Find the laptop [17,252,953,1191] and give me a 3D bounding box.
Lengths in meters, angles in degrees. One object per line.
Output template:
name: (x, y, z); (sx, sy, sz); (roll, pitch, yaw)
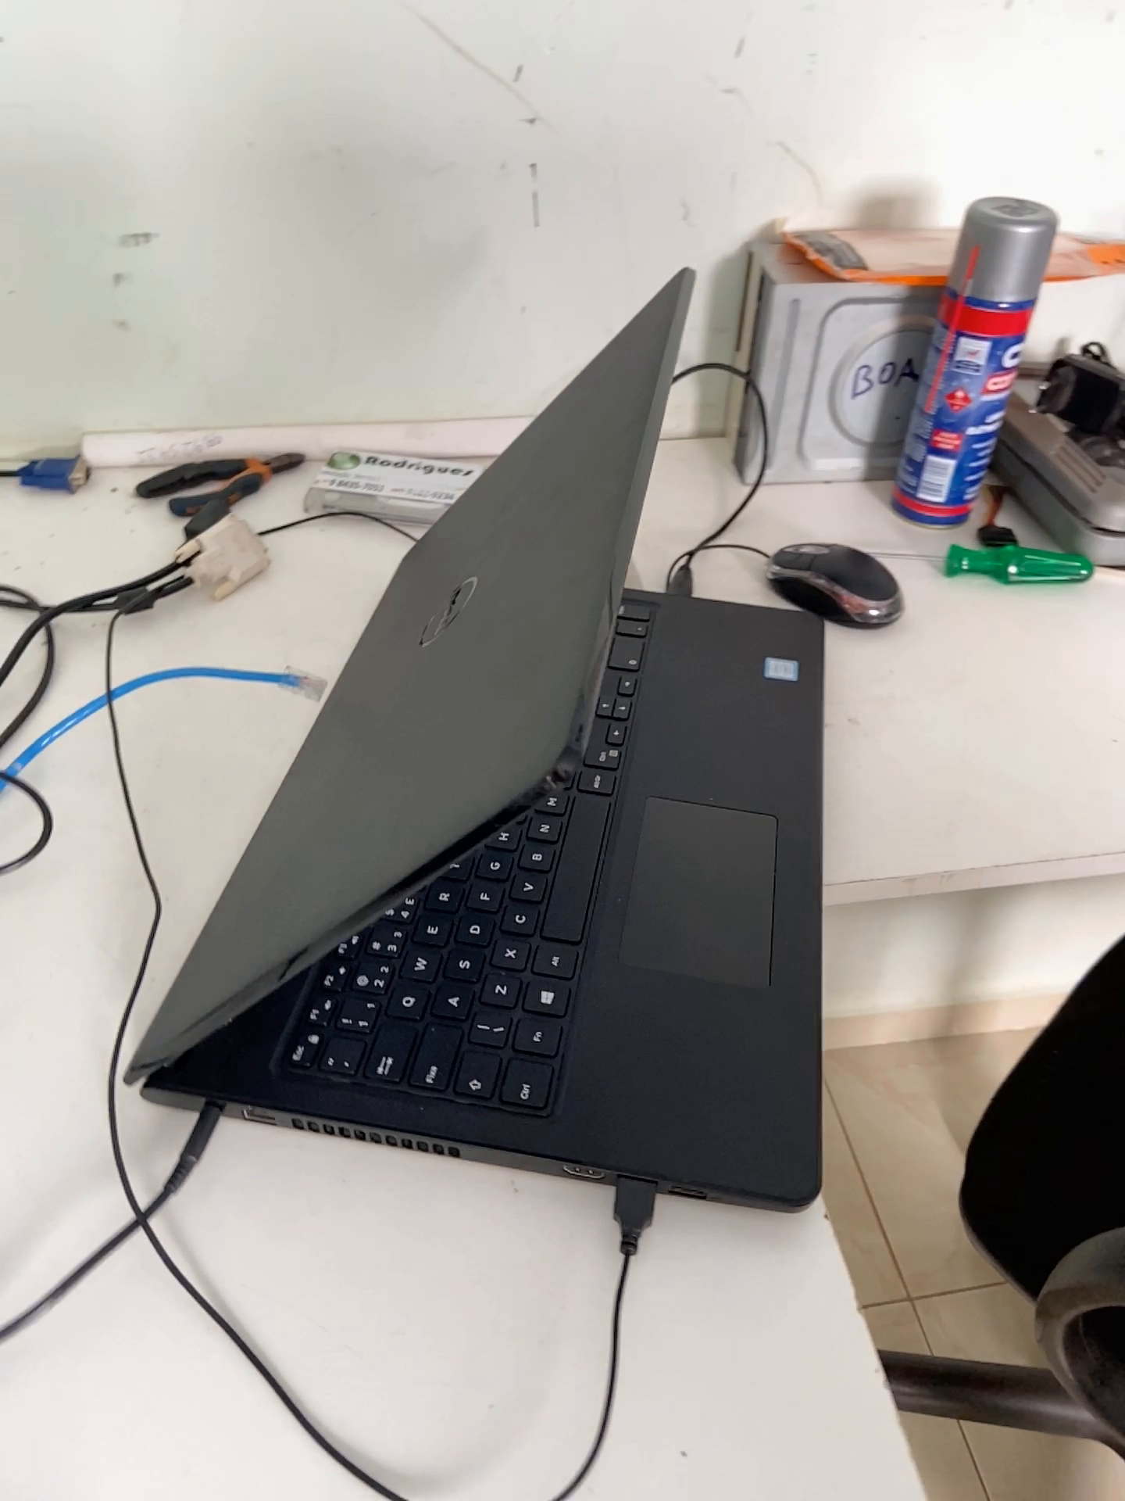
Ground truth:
laptop: (-0.001, -0.051, 0.511); (0.255, 0.192, 0.374); (7, 40, 6)
